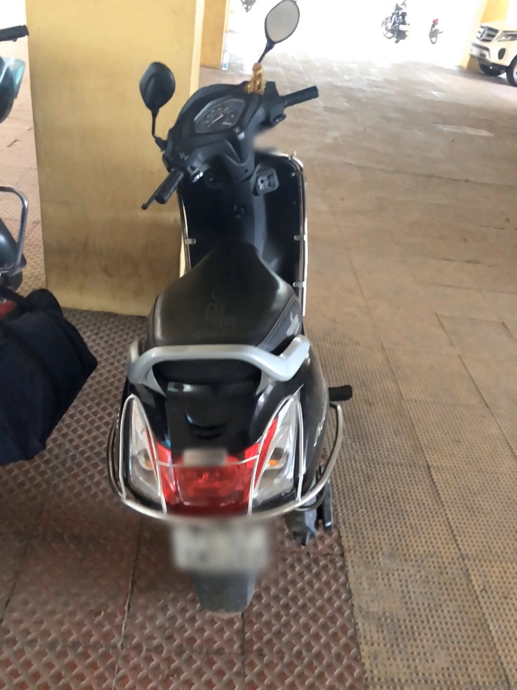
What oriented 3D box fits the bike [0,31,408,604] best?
[{"bbox_3d":[-0.240,-0.290,1.696,0.621,0.882,1.668,4,34,-9],"label":"bike"}]
